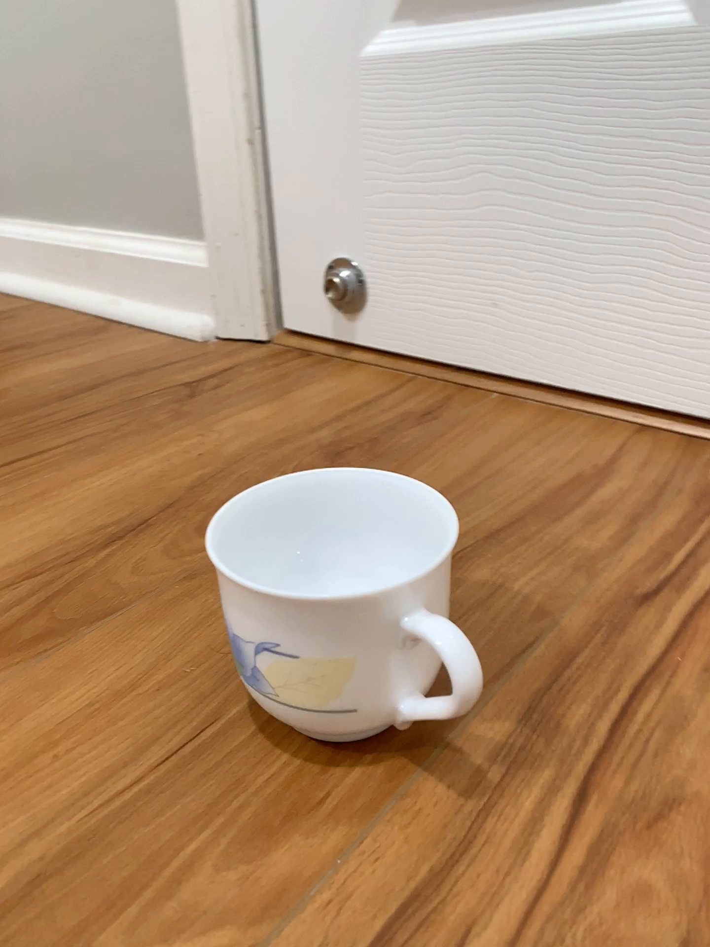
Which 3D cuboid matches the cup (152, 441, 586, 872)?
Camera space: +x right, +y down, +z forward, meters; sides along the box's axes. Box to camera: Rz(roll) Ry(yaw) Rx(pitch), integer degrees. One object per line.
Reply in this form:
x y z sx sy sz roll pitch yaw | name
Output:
0.003 0.045 0.236 0.084 0.063 0.104 -25 34 -37 | cup
